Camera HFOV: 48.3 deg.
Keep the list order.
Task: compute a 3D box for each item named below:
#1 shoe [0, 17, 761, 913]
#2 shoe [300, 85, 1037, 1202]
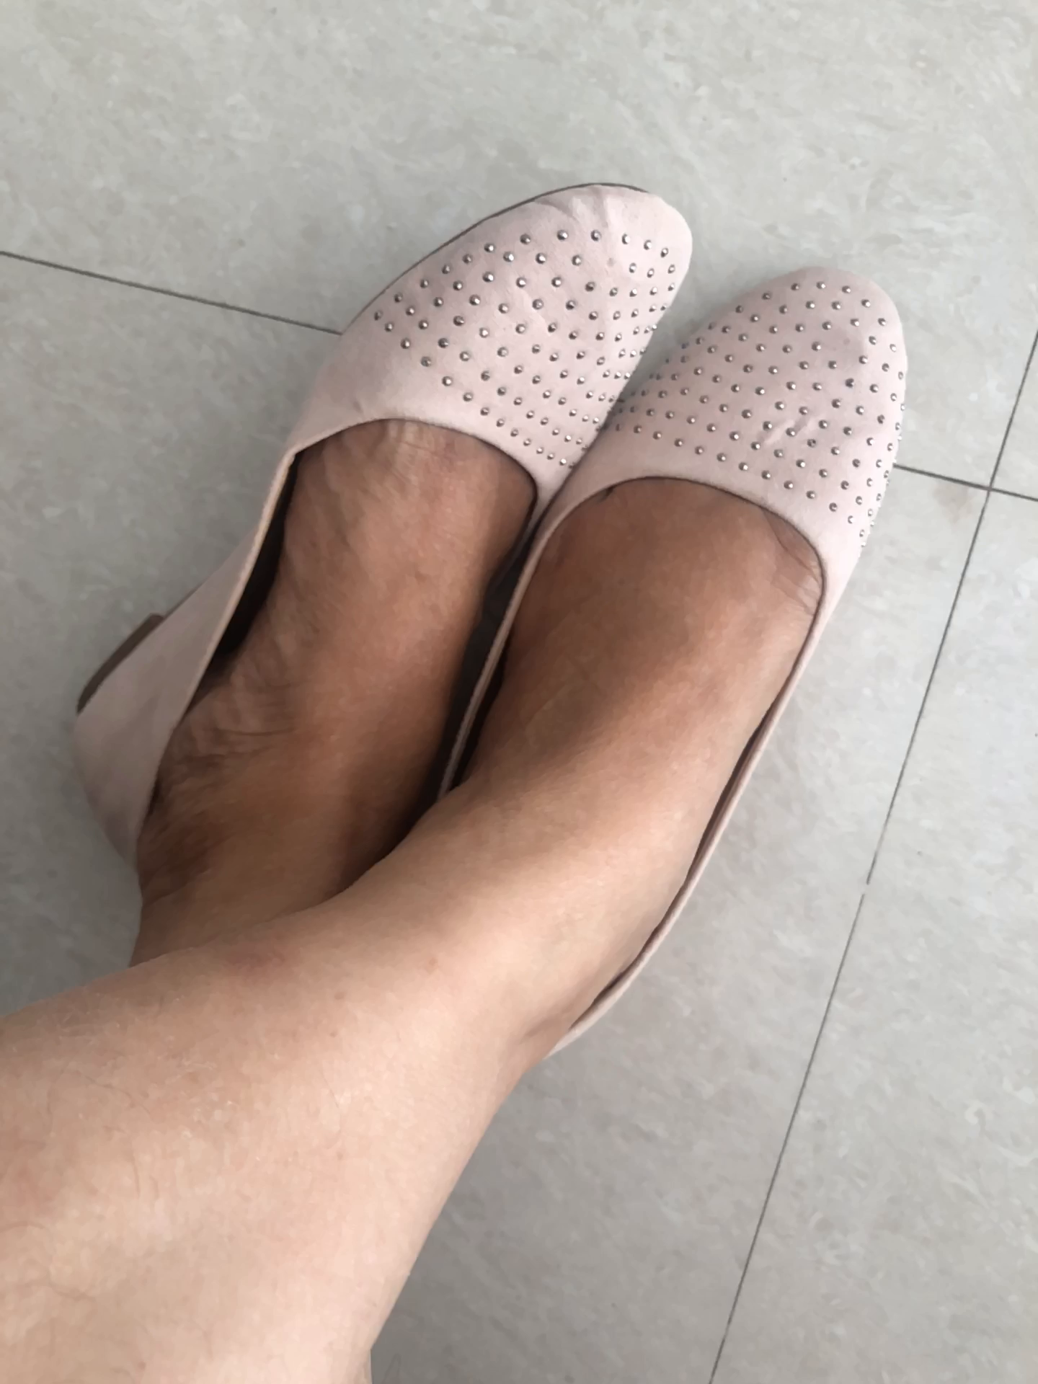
[{"bbox_3d":[-0.050,-0.050,0.335,0.240,0.090,0.060,-51,45,14],"label":"shoe"},{"bbox_3d":[0.040,-0.011,0.338,0.100,0.080,0.270,22,98,10],"label":"shoe"}]
